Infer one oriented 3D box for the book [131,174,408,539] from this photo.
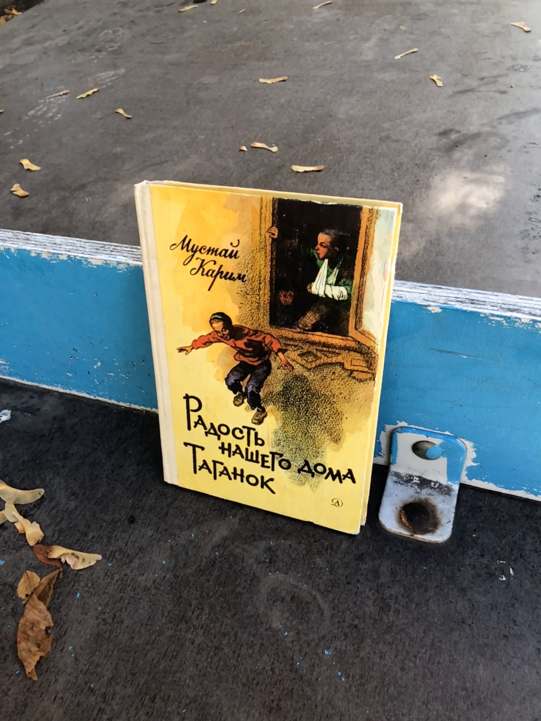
[{"bbox_3d":[-0.006,0.003,0.378,0.155,0.217,0.020,11,29,19],"label":"book"}]
